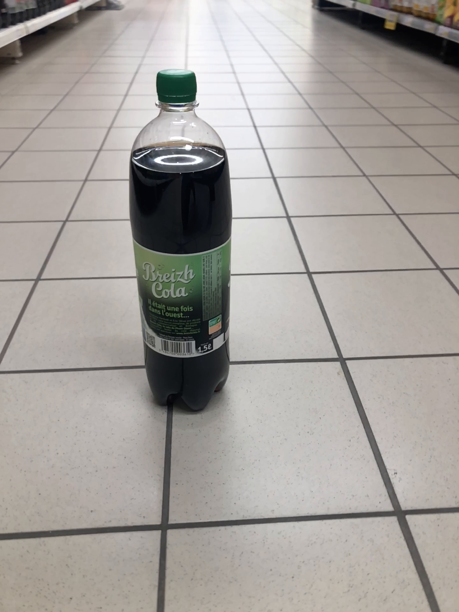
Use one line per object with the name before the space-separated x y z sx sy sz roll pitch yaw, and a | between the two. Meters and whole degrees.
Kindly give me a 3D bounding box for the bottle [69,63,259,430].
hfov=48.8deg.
bottle | -0.050 -0.046 0.460 0.100 0.298 0.101 0 33 0
